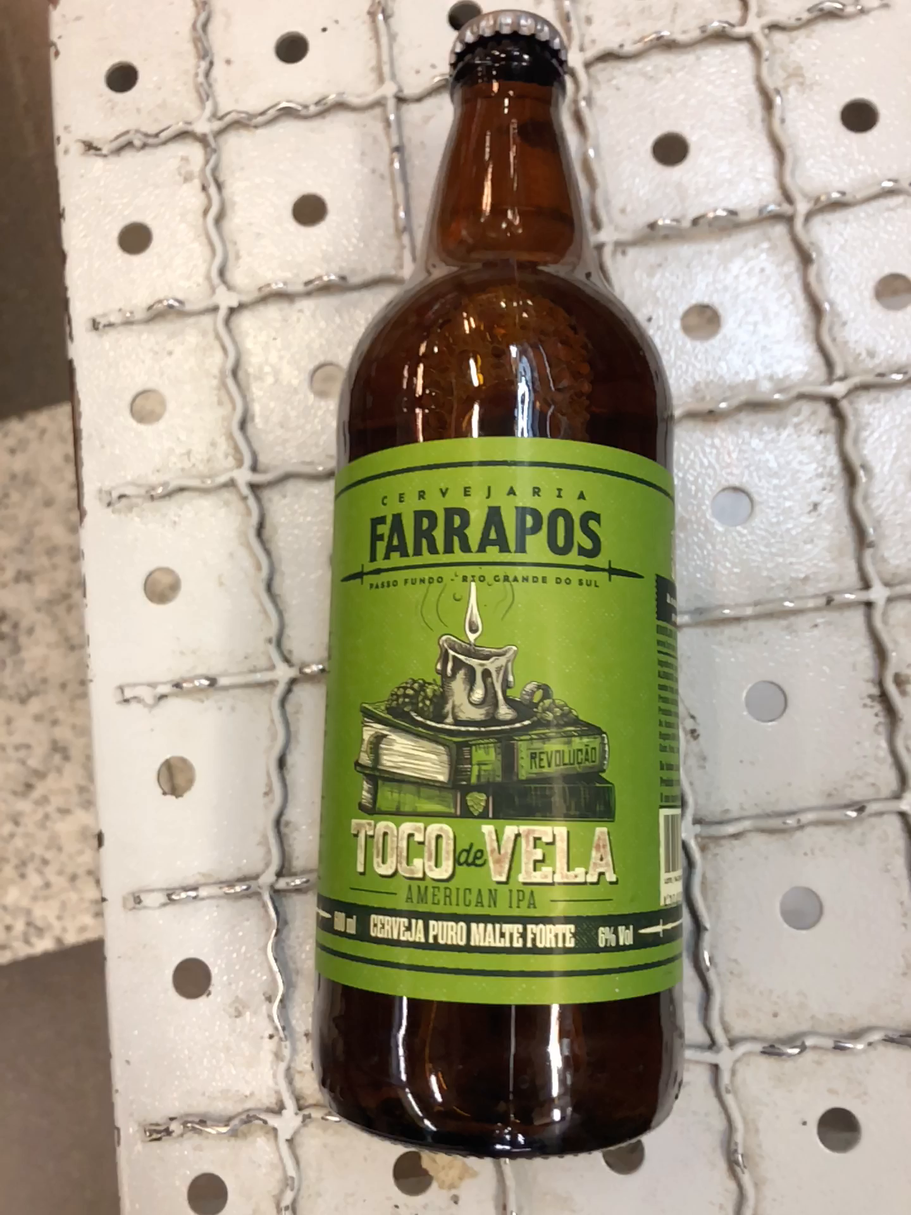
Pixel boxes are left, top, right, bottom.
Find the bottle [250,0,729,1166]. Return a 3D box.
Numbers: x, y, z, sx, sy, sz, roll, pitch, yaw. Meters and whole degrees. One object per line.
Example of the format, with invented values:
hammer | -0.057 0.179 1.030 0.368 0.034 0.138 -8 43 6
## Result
bottle | 0.009 -0.032 0.224 0.080 0.070 0.260 1 82 2
